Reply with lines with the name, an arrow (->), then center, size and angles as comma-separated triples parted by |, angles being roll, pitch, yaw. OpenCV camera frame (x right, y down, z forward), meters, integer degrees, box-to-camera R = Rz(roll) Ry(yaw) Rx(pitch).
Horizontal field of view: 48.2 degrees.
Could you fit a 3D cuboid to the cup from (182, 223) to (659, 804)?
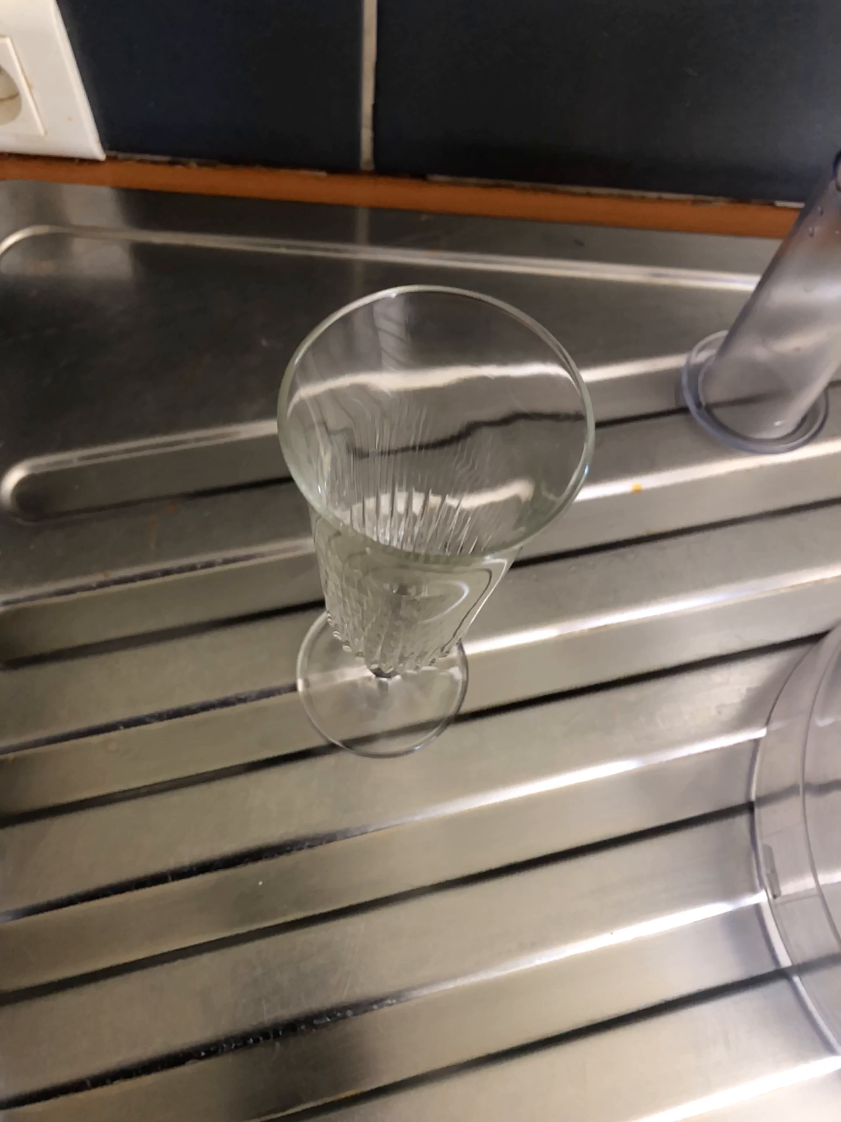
cup -> -0.005, 0.007, 0.241 | 0.060, 0.169, 0.060 | 2, 67, -4
